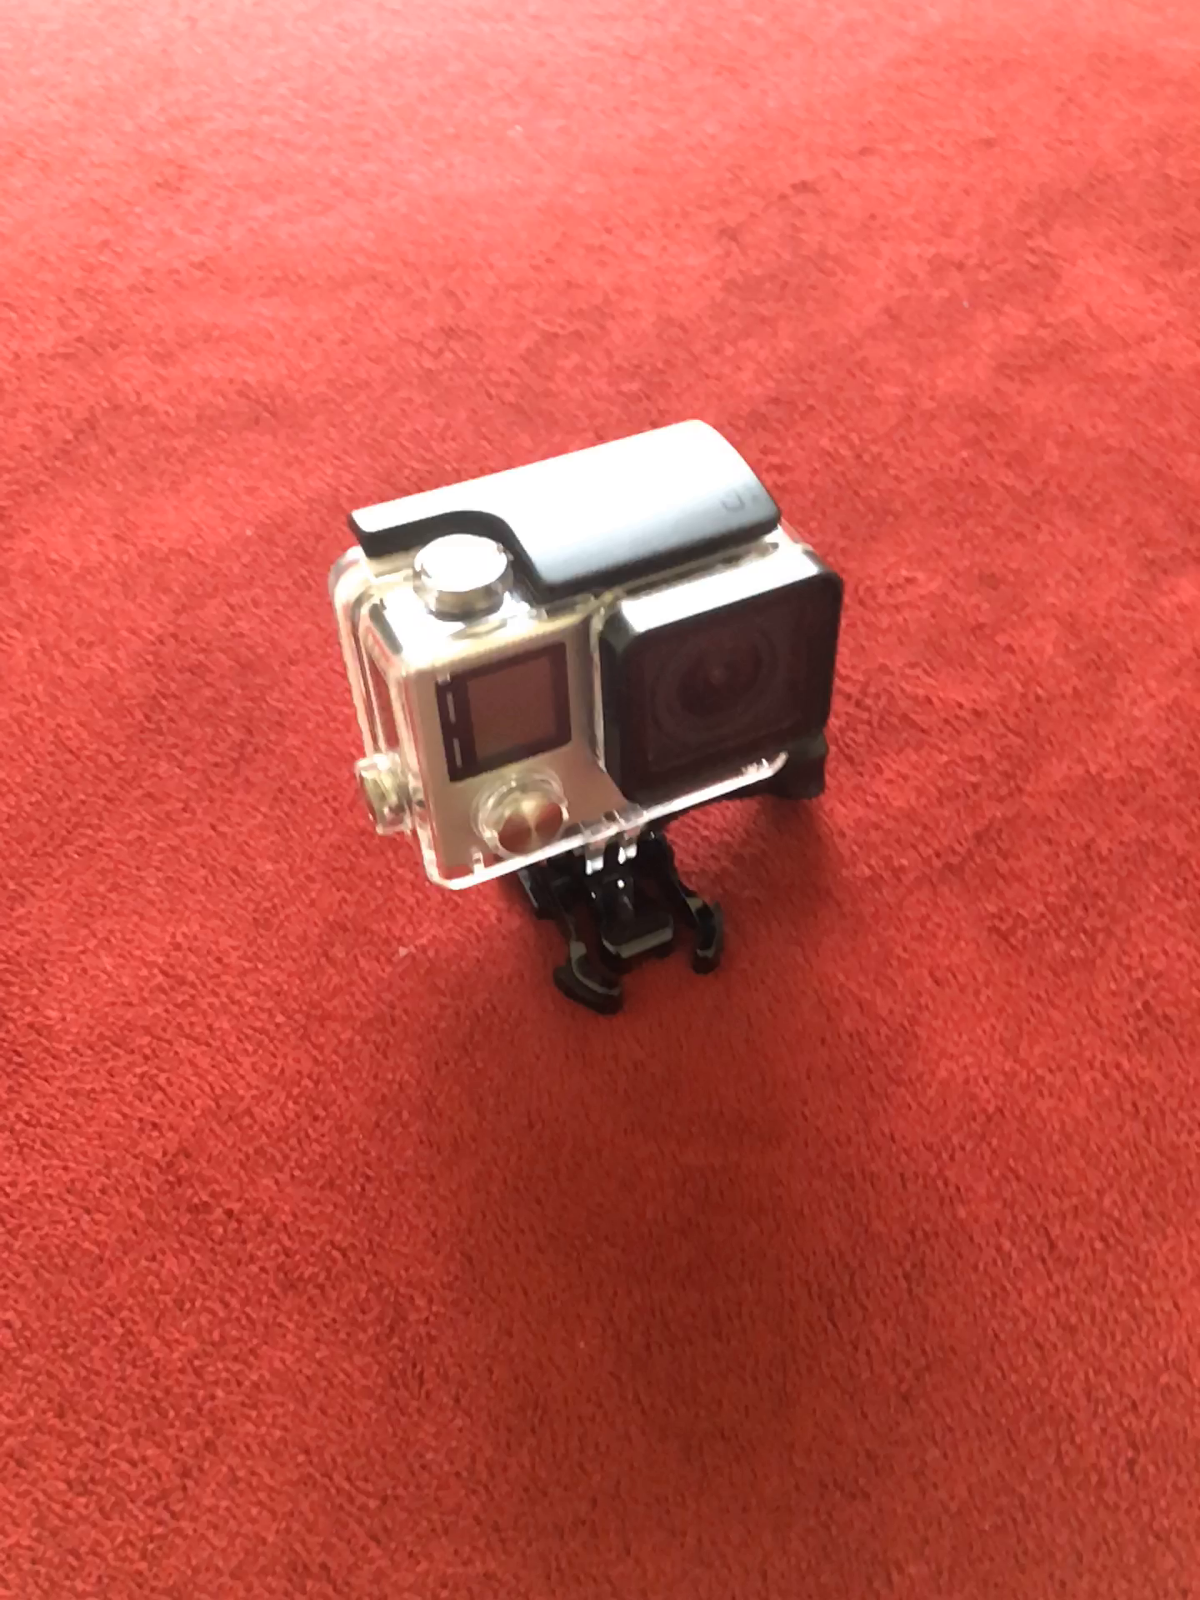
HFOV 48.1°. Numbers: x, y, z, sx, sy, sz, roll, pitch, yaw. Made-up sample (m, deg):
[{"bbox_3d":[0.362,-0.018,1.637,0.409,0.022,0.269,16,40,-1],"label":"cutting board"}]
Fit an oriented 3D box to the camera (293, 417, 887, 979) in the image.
[{"bbox_3d":[0.000,-0.016,0.203,0.072,0.050,0.040,-22,48,-13],"label":"camera"}]
